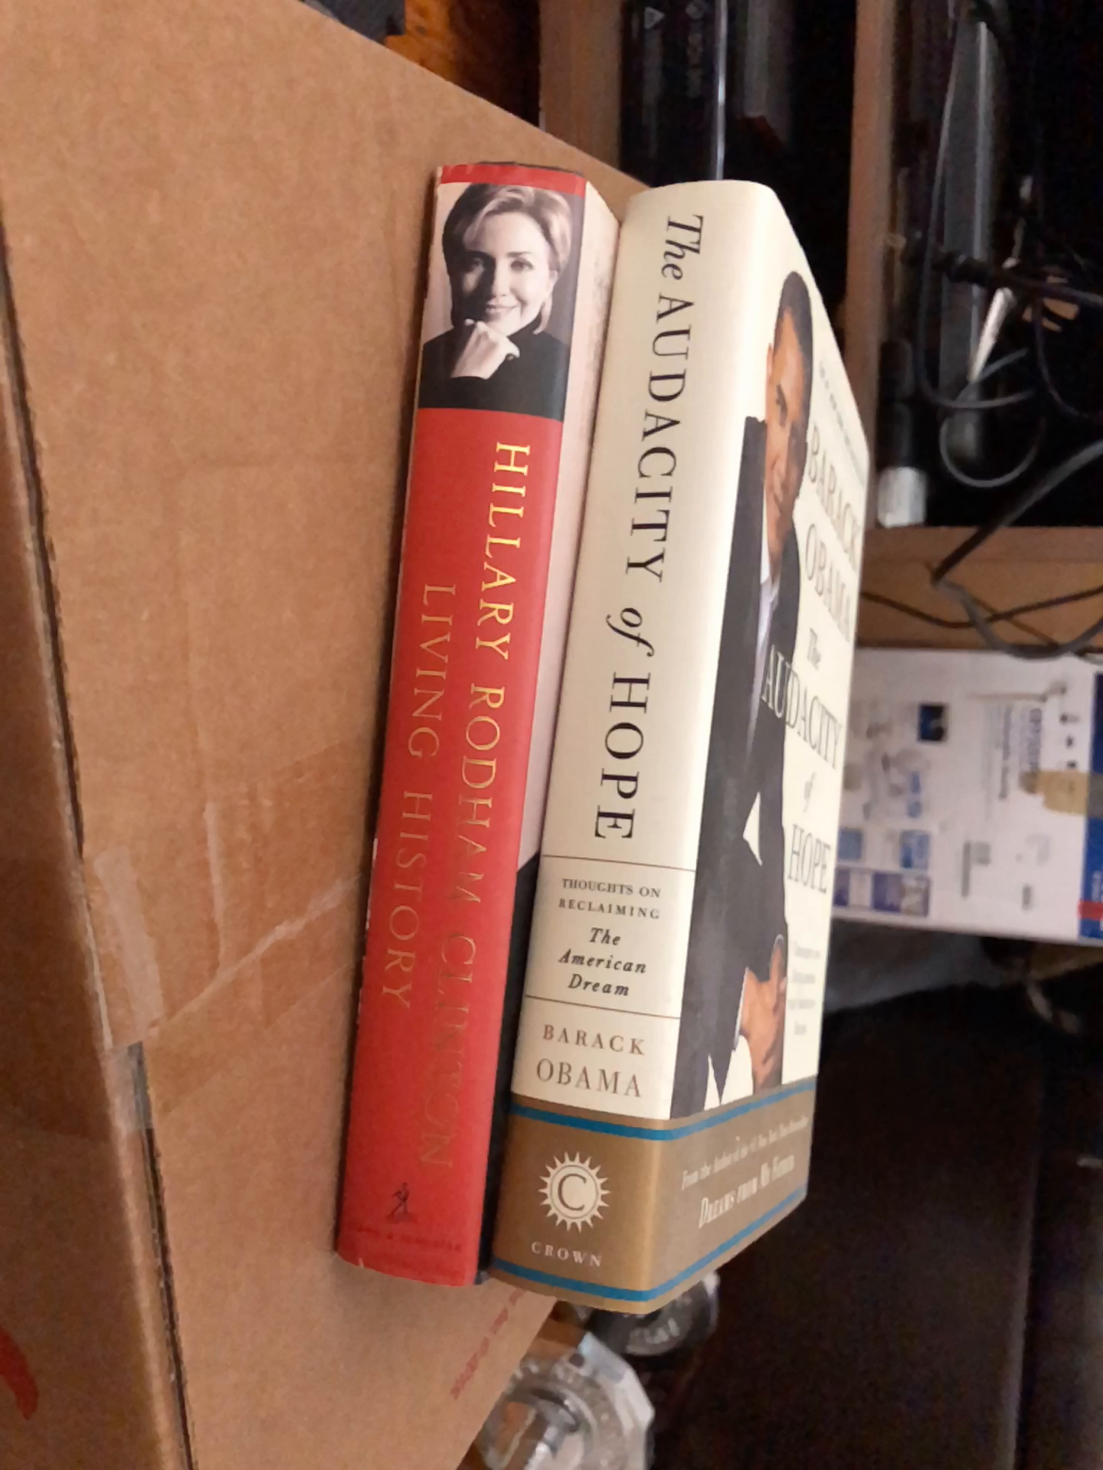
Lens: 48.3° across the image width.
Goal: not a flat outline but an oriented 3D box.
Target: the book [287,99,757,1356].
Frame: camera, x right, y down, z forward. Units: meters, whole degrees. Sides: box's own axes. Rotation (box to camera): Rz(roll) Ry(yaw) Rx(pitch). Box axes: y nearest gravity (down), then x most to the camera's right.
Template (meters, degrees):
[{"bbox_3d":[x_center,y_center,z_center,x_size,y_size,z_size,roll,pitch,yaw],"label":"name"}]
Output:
[{"bbox_3d":[0.007,0.001,0.329,0.171,0.040,0.250,13,81,-67],"label":"book"}]

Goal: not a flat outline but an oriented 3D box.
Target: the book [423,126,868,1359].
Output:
[{"bbox_3d":[0.044,0.009,0.339,0.191,0.040,0.250,28,67,-66],"label":"book"}]
